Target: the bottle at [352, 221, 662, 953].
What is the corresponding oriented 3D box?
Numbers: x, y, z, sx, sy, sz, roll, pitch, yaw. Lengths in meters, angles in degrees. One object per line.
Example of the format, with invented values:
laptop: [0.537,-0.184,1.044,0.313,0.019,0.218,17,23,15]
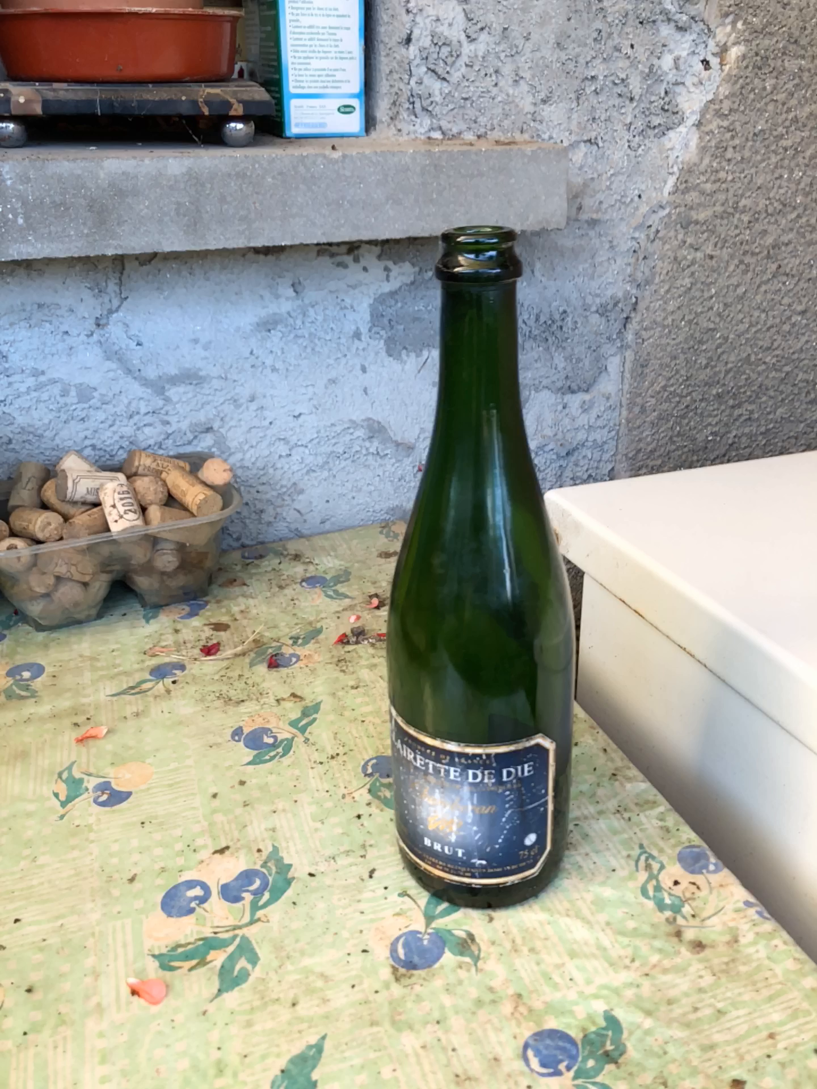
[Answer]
bottle: [0.041,0.023,0.403,0.090,0.308,0.080,14,28,30]
